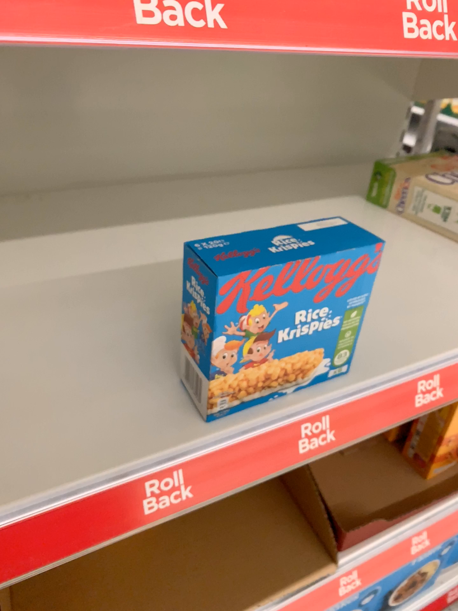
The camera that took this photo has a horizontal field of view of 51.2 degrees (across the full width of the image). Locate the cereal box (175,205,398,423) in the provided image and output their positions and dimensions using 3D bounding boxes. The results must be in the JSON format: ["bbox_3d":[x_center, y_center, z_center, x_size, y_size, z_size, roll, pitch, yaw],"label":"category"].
[{"bbox_3d":[0.039,0.003,0.364,0.150,0.129,0.050,-13,37,-27],"label":"cereal box"}]
